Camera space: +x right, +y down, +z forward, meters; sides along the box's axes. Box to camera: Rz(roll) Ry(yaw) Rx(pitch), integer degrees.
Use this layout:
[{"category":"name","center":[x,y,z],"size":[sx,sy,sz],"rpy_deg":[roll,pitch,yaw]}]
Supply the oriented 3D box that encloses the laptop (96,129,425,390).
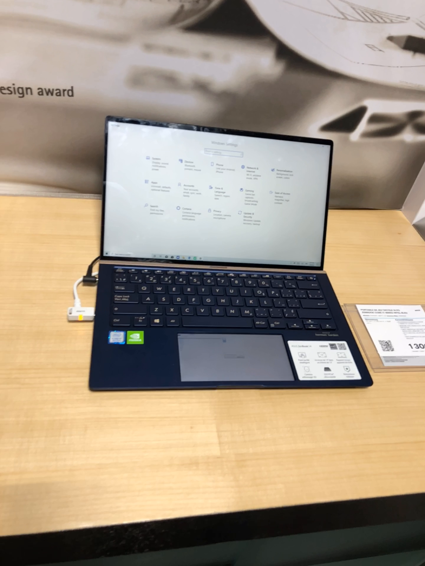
[{"category":"laptop","center":[0.033,-0.046,0.607],"size":[0.332,0.159,0.322],"rpy_deg":[2,41,-11]}]
